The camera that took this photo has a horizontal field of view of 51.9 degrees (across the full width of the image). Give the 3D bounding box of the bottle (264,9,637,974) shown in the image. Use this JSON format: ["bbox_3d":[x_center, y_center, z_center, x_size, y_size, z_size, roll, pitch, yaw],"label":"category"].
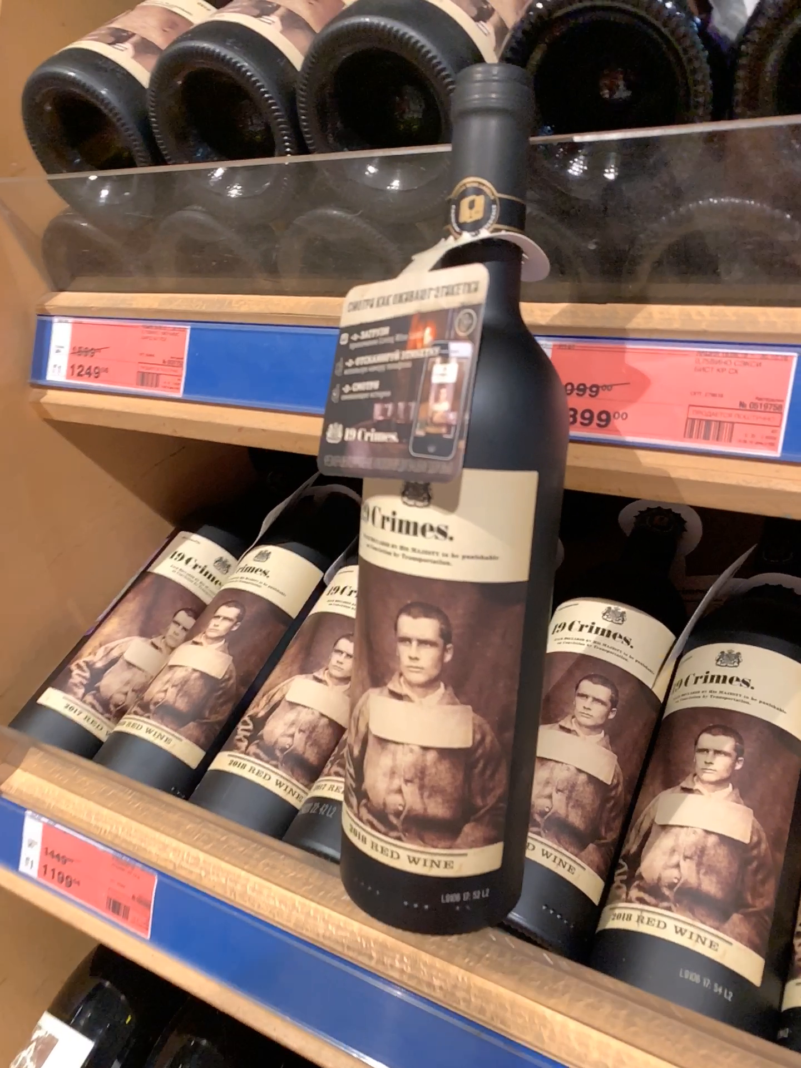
[{"bbox_3d":[0.015,-0.009,0.307,0.087,0.300,0.082,4,12,-1],"label":"bottle"}]
